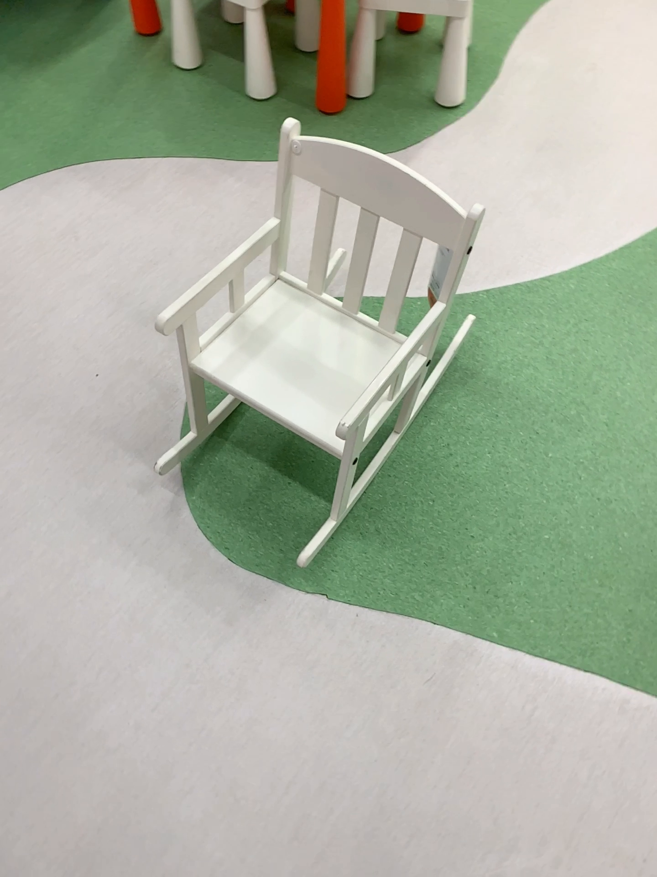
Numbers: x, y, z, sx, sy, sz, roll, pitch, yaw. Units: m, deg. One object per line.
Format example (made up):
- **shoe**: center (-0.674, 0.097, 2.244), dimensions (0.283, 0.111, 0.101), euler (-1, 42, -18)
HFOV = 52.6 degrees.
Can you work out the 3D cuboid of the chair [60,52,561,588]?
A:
- **chair**: center (0.006, -0.208, 1.216), dimensions (0.410, 0.499, 0.731), euler (31, 66, 15)
